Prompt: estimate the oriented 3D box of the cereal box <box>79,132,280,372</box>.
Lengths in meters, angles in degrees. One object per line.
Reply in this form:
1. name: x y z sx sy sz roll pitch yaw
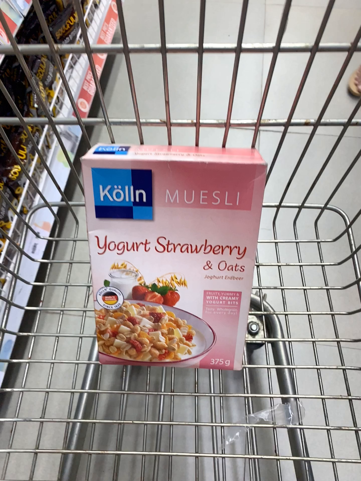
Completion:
1. cereal box: -0.003 0.018 0.346 0.150 0.220 0.050 2 25 2
